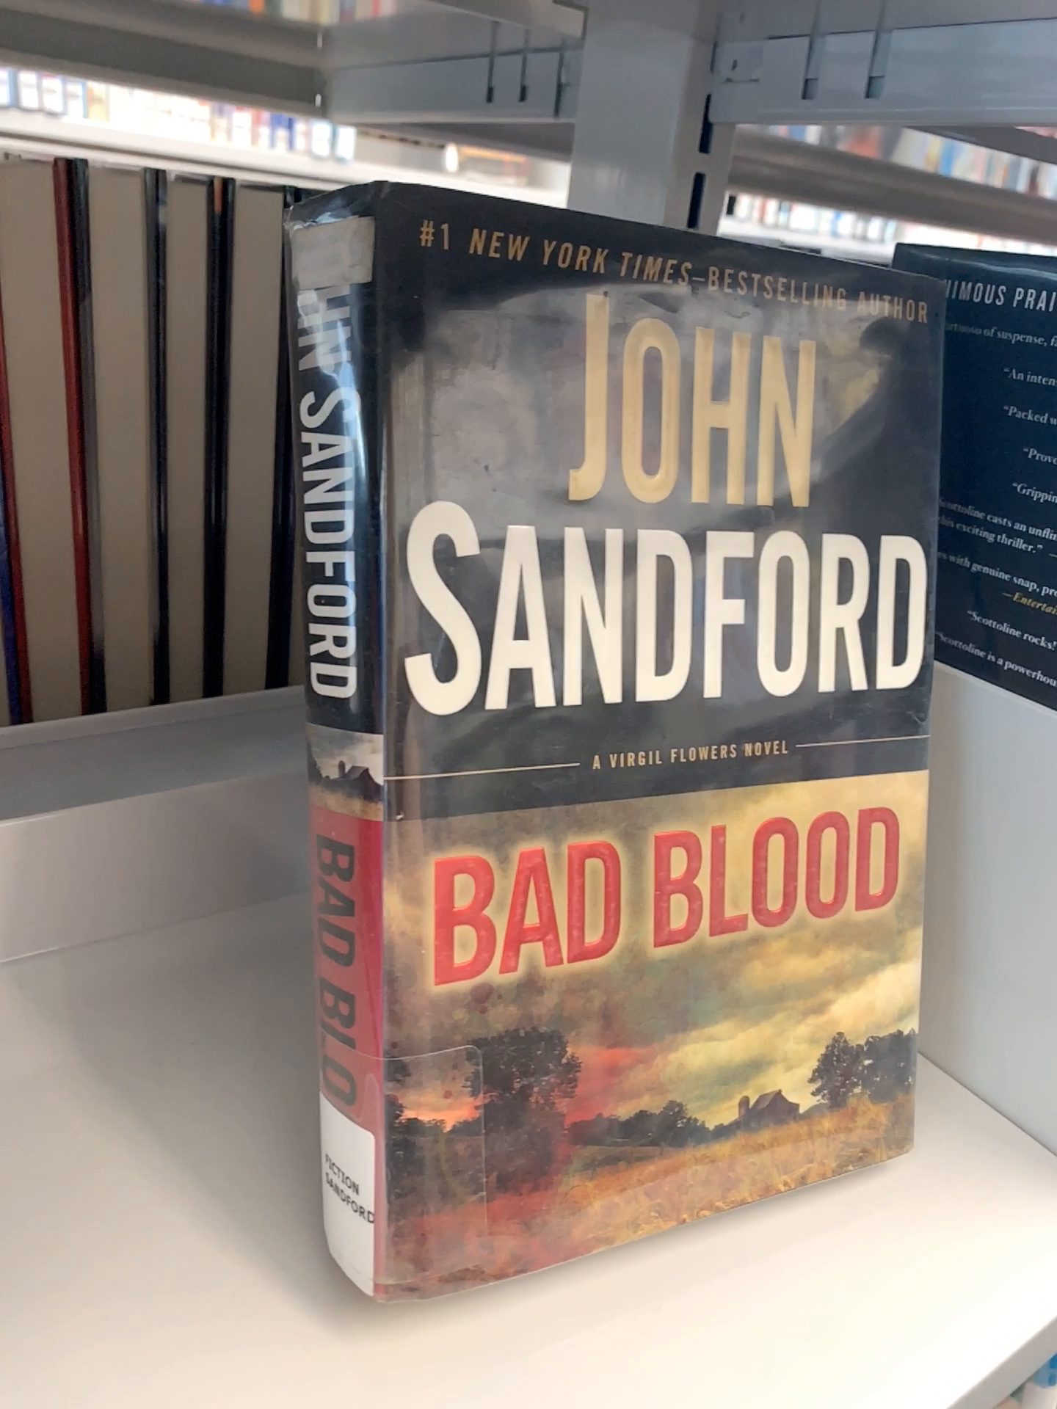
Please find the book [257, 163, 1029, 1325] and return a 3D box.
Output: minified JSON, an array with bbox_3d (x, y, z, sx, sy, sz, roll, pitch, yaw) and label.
[{"bbox_3d":[0.029,0.007,0.256,0.165,0.215,0.050,-4,10,-25],"label":"book"}]
